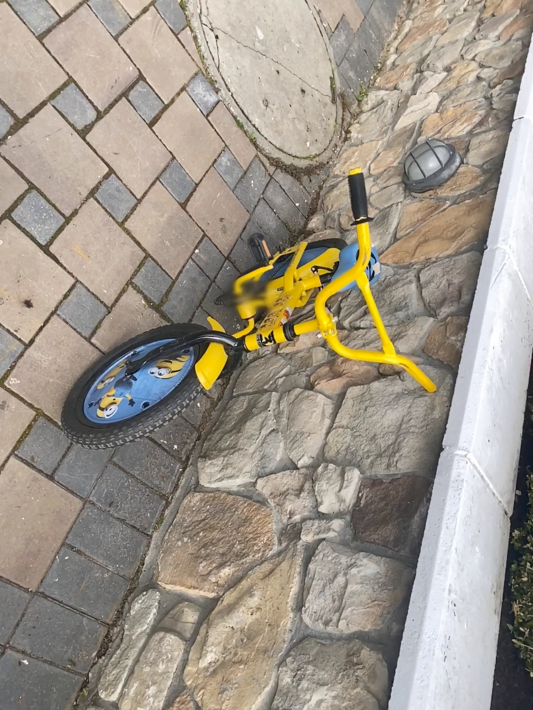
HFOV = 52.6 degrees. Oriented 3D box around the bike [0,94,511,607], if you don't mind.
[{"bbox_3d":[0.089,-0.101,1.395,1.090,0.735,0.619,-48,119,-45],"label":"bike"}]
